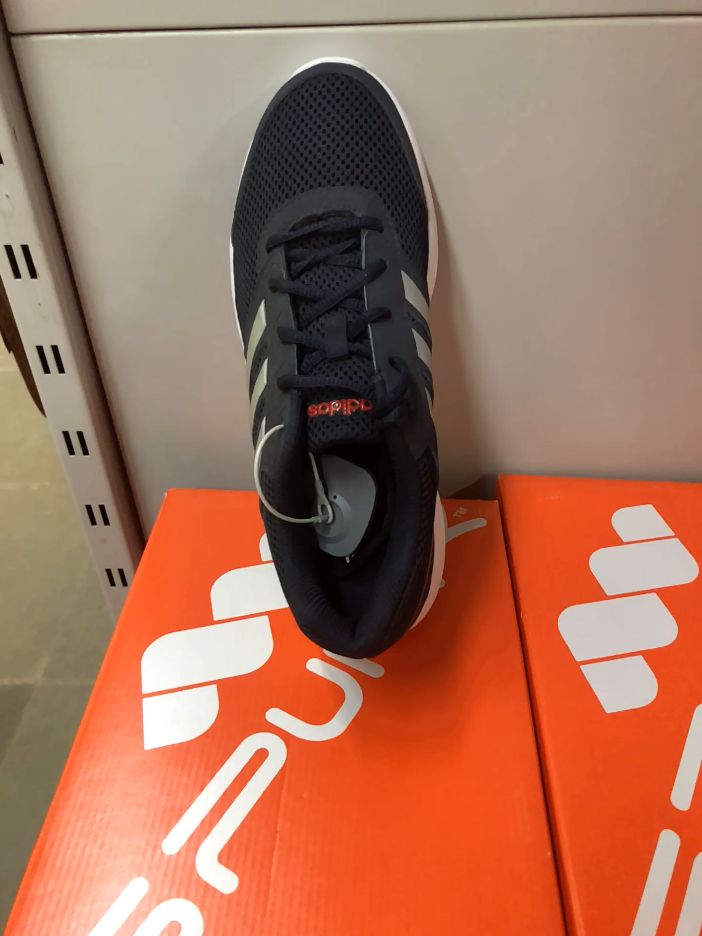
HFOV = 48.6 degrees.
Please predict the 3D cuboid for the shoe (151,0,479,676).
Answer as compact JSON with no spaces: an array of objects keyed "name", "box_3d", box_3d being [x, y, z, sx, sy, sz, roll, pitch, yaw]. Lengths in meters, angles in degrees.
[{"name":"shoe","box_3d":[-0.011,-0.056,0.354,0.110,0.272,0.088,-5,-1,7]}]
